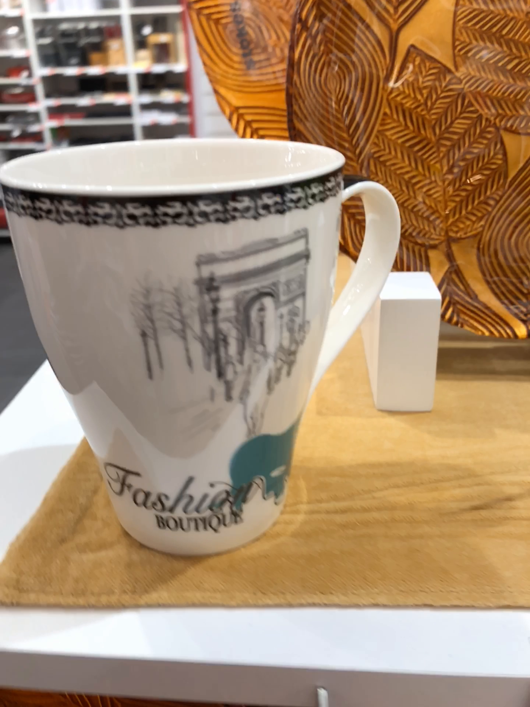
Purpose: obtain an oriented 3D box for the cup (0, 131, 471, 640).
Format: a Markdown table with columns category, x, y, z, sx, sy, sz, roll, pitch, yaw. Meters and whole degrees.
| category | x | y | z | sx | sy | sz | roll | pitch | yaw |
| --- | --- | --- | --- | --- | --- | --- | --- | --- | --- |
| cup | -0.016 | -0.006 | 0.176 | 0.110 | 0.100 | 0.080 | -16 | 29 | -27 |
